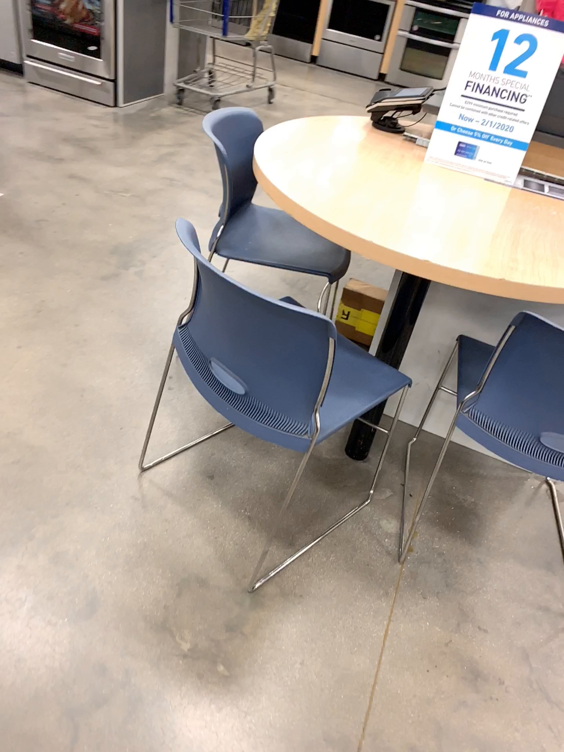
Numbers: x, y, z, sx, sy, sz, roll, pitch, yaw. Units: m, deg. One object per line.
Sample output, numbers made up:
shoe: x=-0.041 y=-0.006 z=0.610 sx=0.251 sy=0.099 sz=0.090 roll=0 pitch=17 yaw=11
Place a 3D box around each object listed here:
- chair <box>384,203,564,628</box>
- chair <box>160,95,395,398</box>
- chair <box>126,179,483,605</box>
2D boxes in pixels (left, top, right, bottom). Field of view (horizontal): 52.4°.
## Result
chair: x=0.608 y=0.095 z=1.376 sx=0.483 sy=0.749 sz=0.534 roll=16 pitch=38 yaw=4
chair: x=-0.025 y=-0.426 z=1.897 sx=0.571 sy=0.729 sz=0.486 roll=15 pitch=38 yaw=3
chair: x=0.000 y=0.015 z=1.389 sx=0.553 sy=0.749 sz=0.484 roll=-25 pitch=51 yaw=-39
